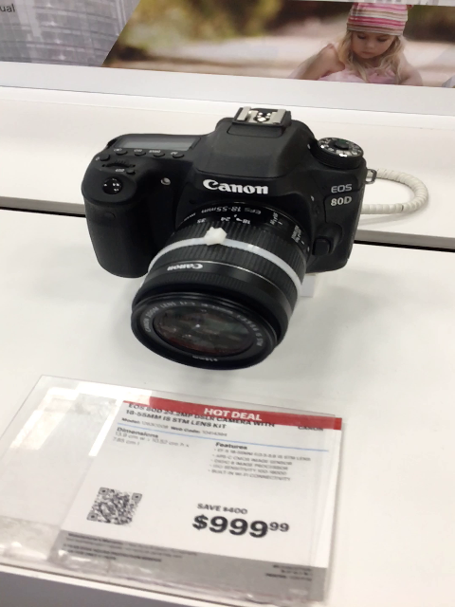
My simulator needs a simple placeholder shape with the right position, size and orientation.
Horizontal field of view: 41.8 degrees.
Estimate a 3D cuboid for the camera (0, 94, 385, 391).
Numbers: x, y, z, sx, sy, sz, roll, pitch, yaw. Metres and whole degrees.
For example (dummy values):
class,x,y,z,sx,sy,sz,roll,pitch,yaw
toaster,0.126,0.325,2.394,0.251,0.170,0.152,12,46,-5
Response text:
class,x,y,z,sx,sy,sz,roll,pitch,yaw
camera,-0.013,-0.039,0.320,0.165,0.095,0.132,8,44,9
